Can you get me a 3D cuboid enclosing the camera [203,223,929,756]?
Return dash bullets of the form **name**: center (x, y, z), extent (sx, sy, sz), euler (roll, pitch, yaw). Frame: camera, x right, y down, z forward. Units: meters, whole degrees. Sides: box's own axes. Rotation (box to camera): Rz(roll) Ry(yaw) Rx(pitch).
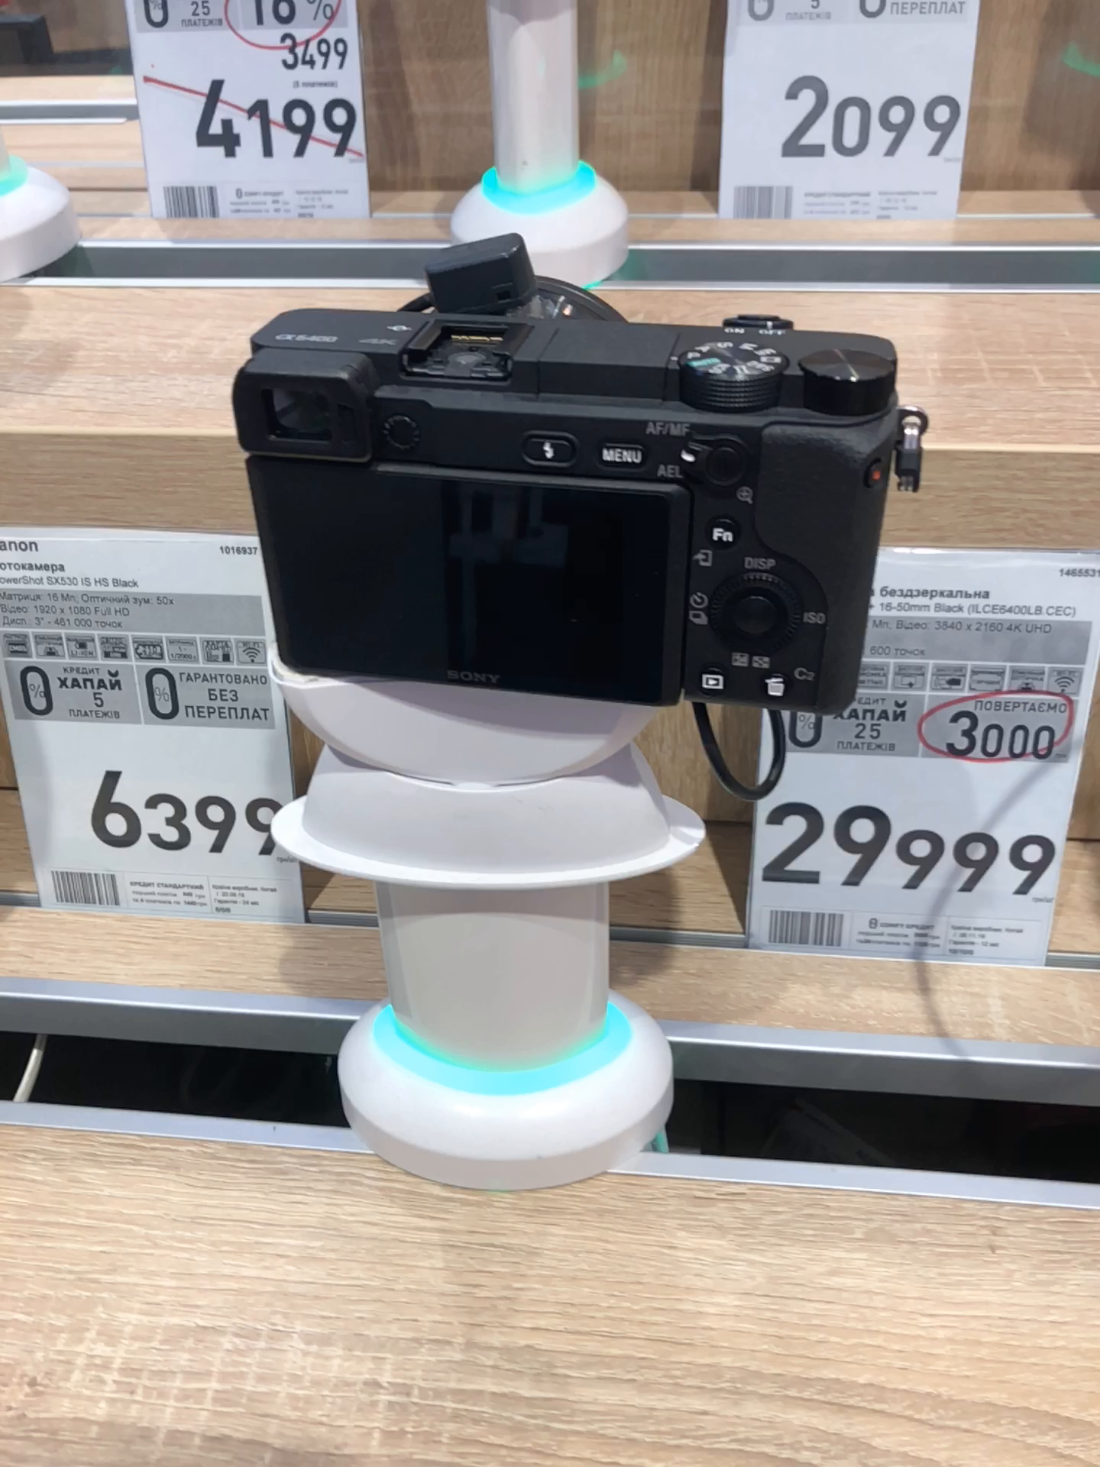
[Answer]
- **camera**: center (0.010, -0.058, 0.260), extent (0.122, 0.069, 0.098), euler (6, 36, 10)
